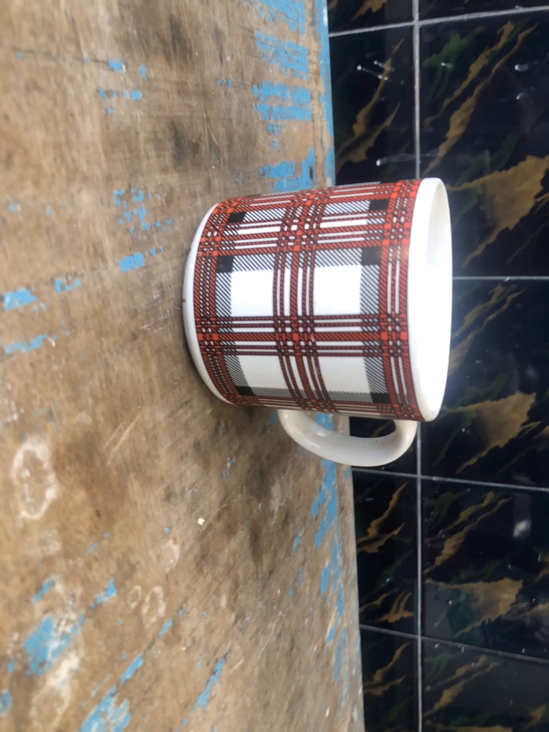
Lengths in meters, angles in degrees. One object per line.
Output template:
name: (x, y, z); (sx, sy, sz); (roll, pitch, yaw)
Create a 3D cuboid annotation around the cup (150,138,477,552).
cup: (0.021, -0.009, 0.199); (0.060, 0.079, 0.110); (-53, 140, -57)
